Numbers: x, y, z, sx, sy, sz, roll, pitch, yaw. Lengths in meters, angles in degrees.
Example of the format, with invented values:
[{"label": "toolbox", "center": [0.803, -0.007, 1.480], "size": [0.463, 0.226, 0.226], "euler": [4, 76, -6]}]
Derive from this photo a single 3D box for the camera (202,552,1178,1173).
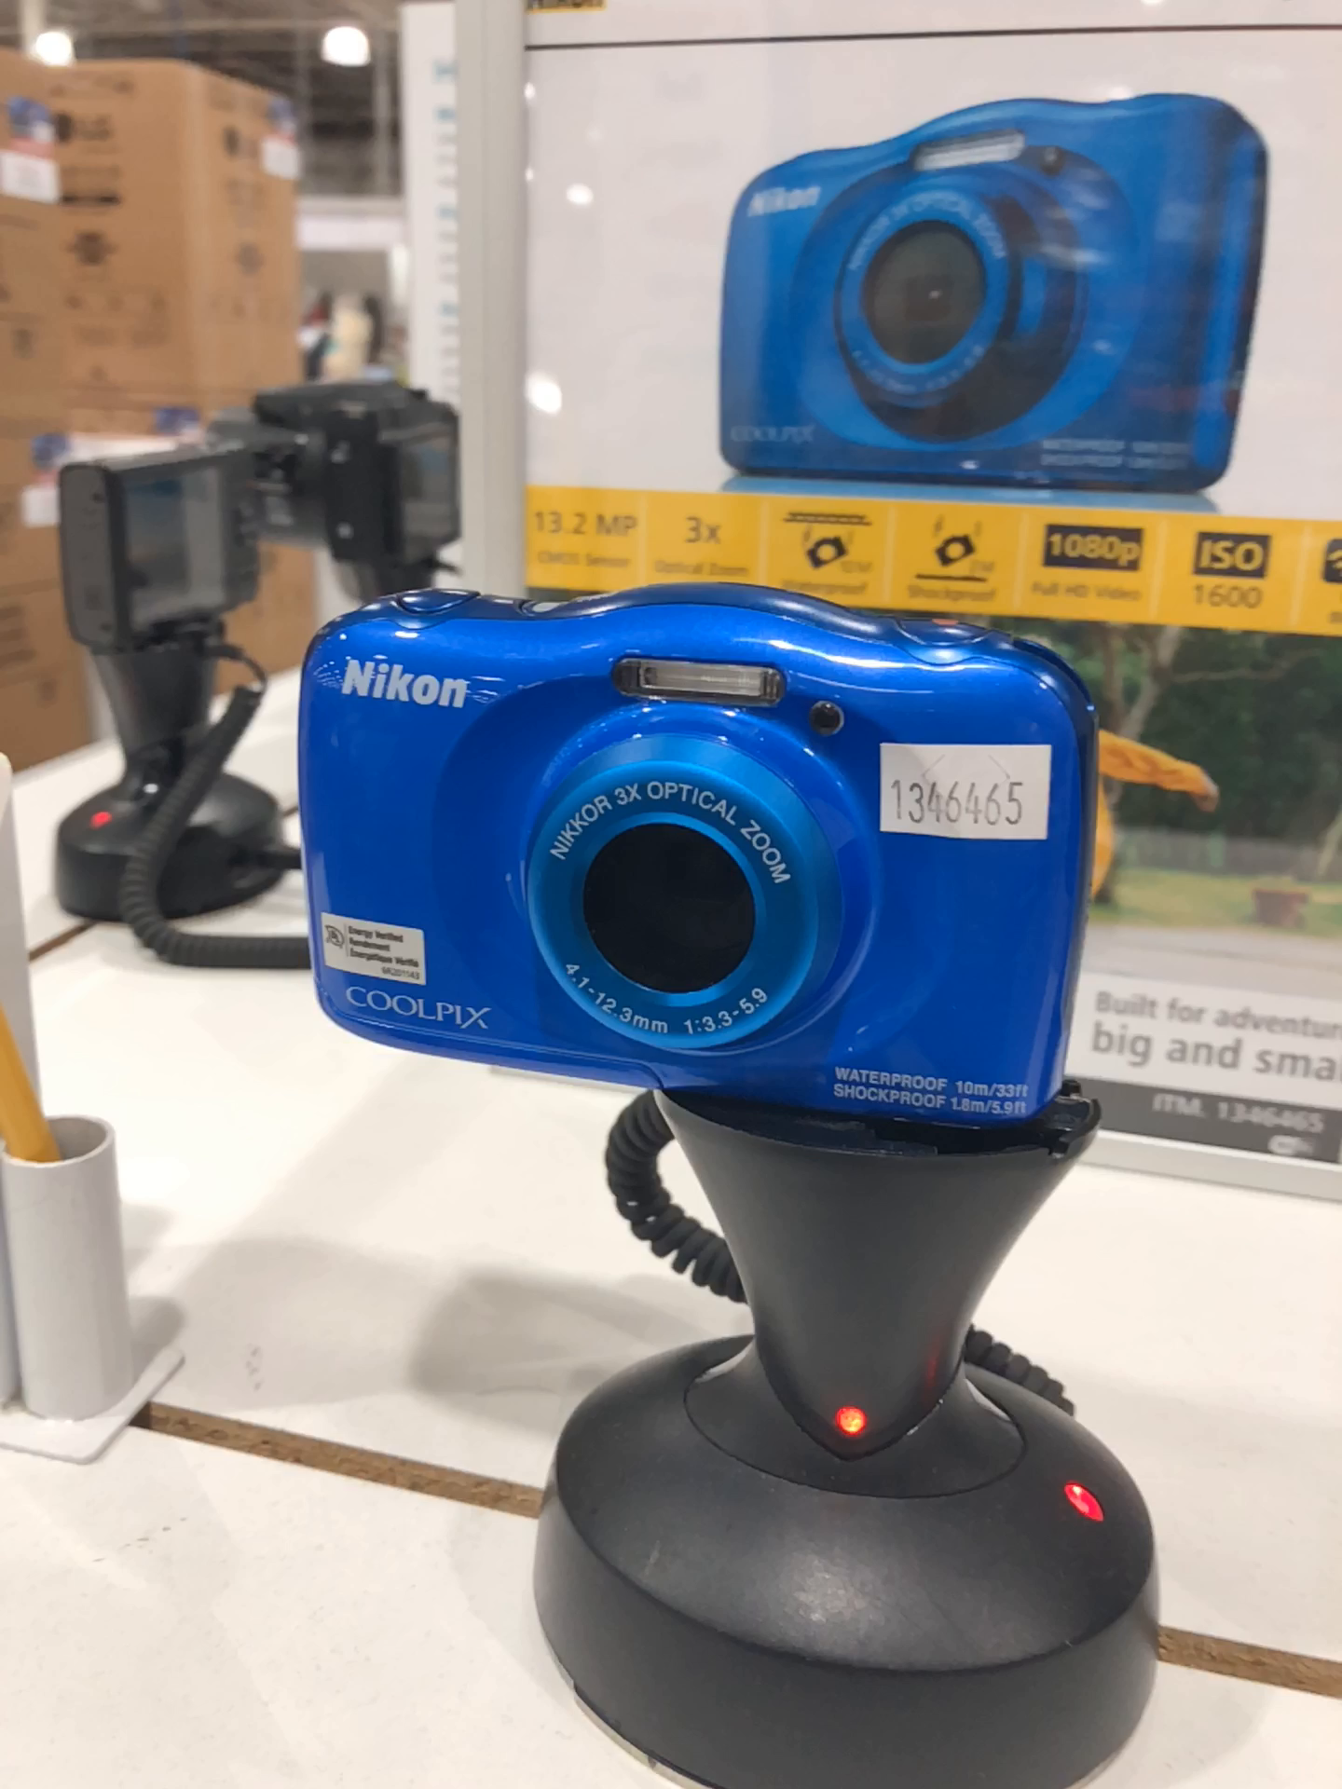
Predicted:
[{"label": "camera", "center": [0.002, -0.008, 0.194], "size": [0.110, 0.060, 0.040], "euler": [6, 19, 11]}]
